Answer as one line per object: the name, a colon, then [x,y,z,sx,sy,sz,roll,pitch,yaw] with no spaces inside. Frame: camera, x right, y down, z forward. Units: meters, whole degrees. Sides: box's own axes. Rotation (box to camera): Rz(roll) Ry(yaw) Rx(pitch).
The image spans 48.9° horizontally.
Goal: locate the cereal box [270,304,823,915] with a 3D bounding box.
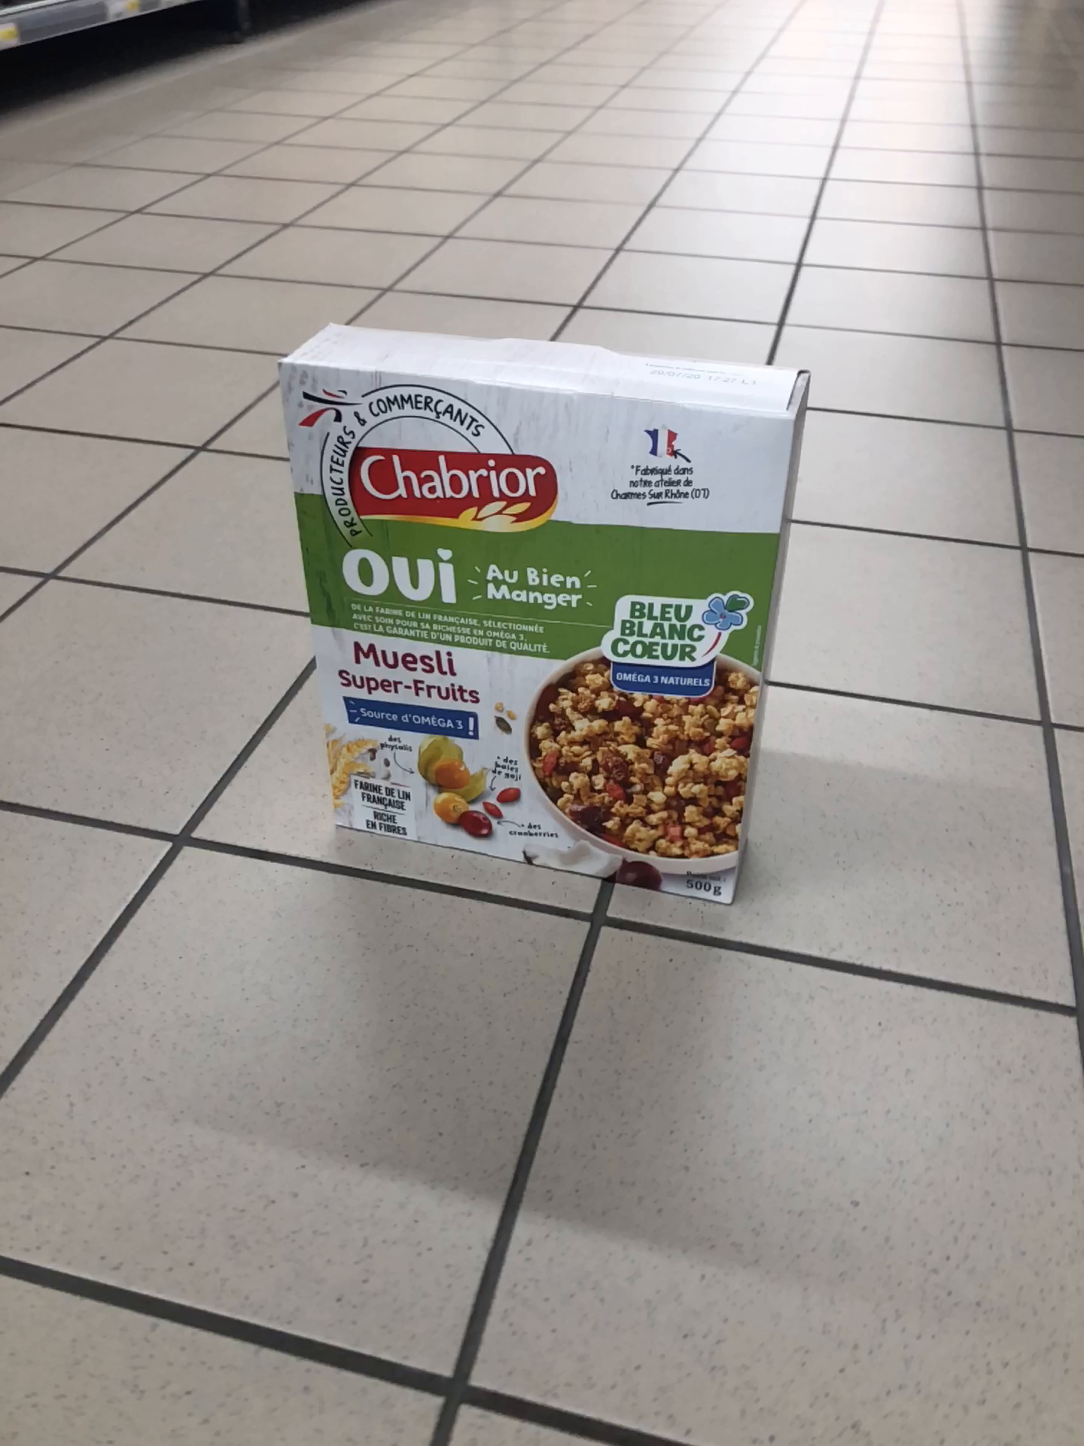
cereal box: [0.002,-0.041,0.497,0.190,0.229,0.060,10,37,13]
